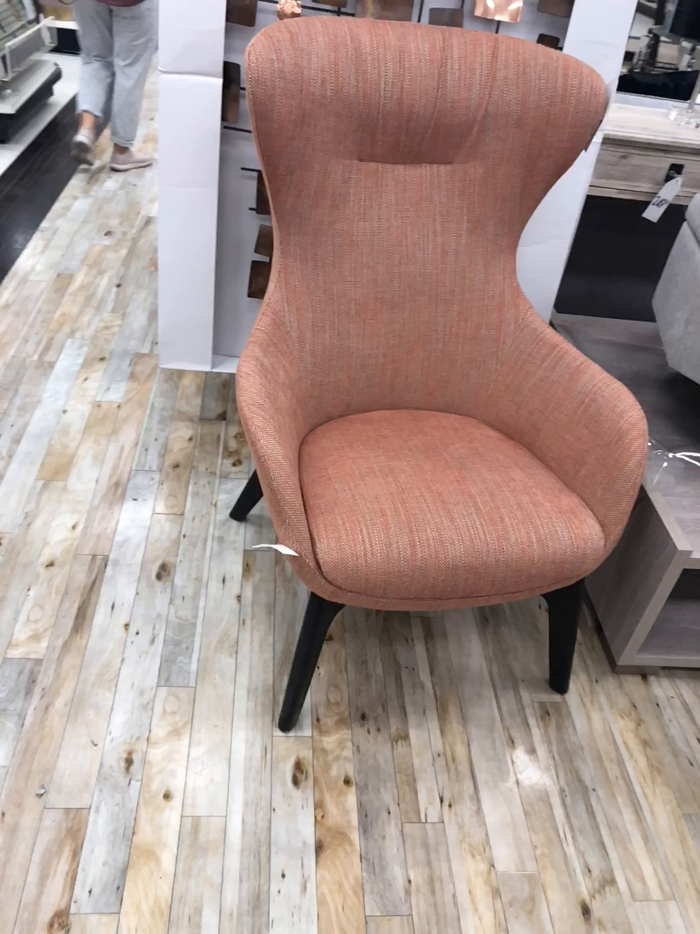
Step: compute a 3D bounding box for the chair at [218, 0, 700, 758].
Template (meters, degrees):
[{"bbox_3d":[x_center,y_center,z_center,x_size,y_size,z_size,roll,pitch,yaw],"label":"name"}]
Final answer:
[{"bbox_3d":[0.157,-0.161,1.406,0.690,1.065,0.753,-3,38,-15],"label":"chair"}]
